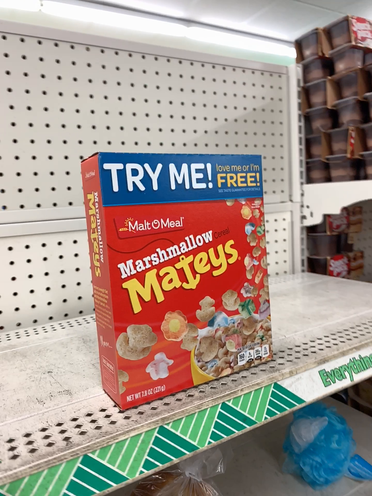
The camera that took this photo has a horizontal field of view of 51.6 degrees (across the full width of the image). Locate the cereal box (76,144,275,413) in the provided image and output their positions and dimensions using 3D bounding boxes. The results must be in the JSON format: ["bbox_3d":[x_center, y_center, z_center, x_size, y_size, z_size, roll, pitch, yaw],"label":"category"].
[{"bbox_3d":[-0.002,0.017,0.388,0.180,0.230,0.050,-8,7,-29],"label":"cereal box"}]
